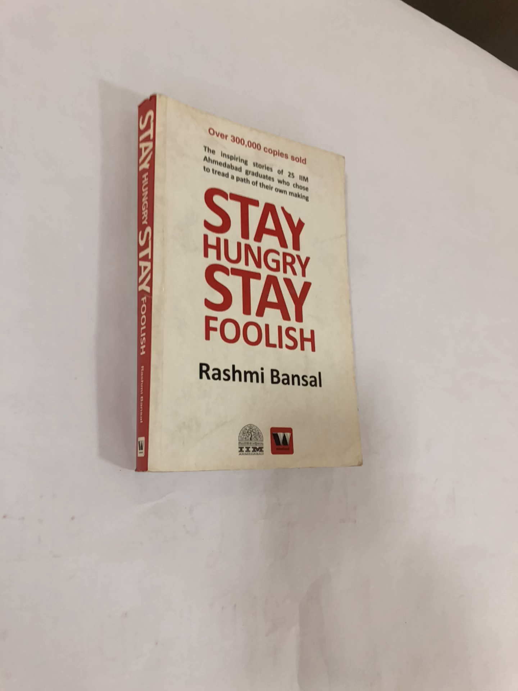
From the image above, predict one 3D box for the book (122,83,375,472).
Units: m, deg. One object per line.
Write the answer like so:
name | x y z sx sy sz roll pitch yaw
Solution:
book | -0.004 -0.029 0.321 0.130 0.040 0.190 6 75 -33
